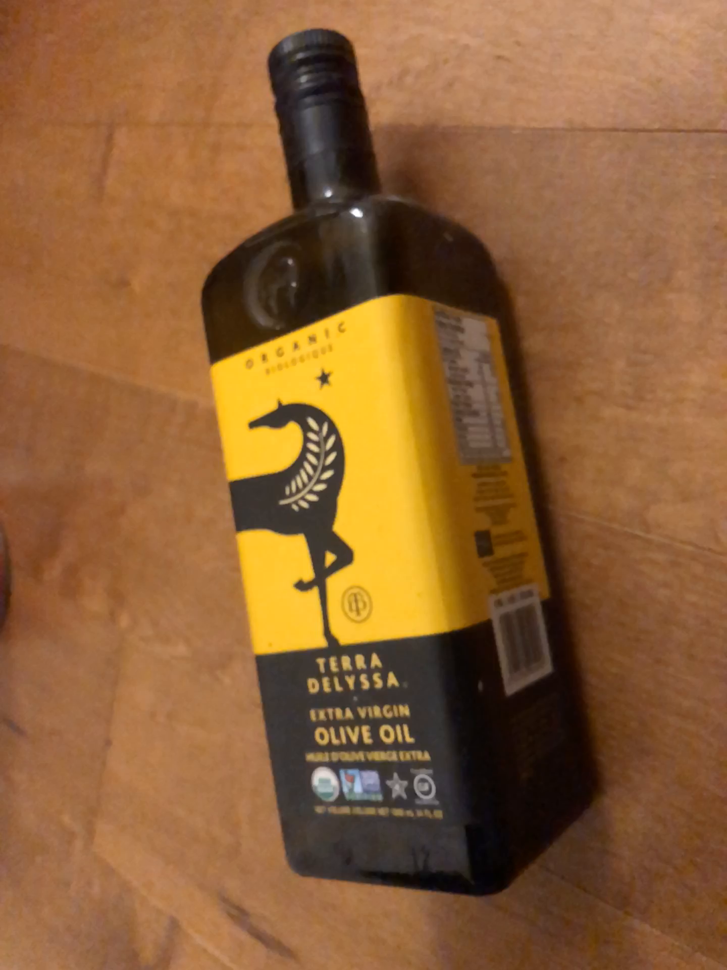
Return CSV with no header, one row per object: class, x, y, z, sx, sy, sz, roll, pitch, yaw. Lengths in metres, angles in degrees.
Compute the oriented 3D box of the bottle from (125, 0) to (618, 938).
bottle,-0.002,-0.018,0.256,0.090,0.060,0.270,-14,83,36
